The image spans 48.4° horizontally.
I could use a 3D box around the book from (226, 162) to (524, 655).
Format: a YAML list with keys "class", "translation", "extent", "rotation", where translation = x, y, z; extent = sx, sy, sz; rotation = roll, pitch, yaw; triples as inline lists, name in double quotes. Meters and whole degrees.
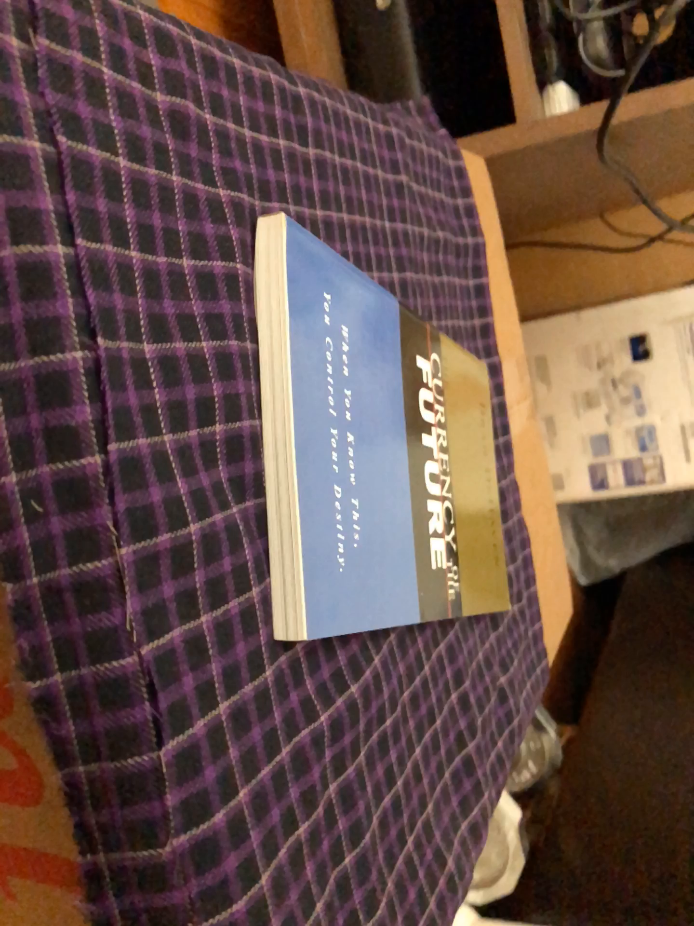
- class: "book"
  translation: [0.027, -0.006, 0.330]
  extent: [0.221, 0.020, 0.150]
  rotation: [15, 69, -60]
